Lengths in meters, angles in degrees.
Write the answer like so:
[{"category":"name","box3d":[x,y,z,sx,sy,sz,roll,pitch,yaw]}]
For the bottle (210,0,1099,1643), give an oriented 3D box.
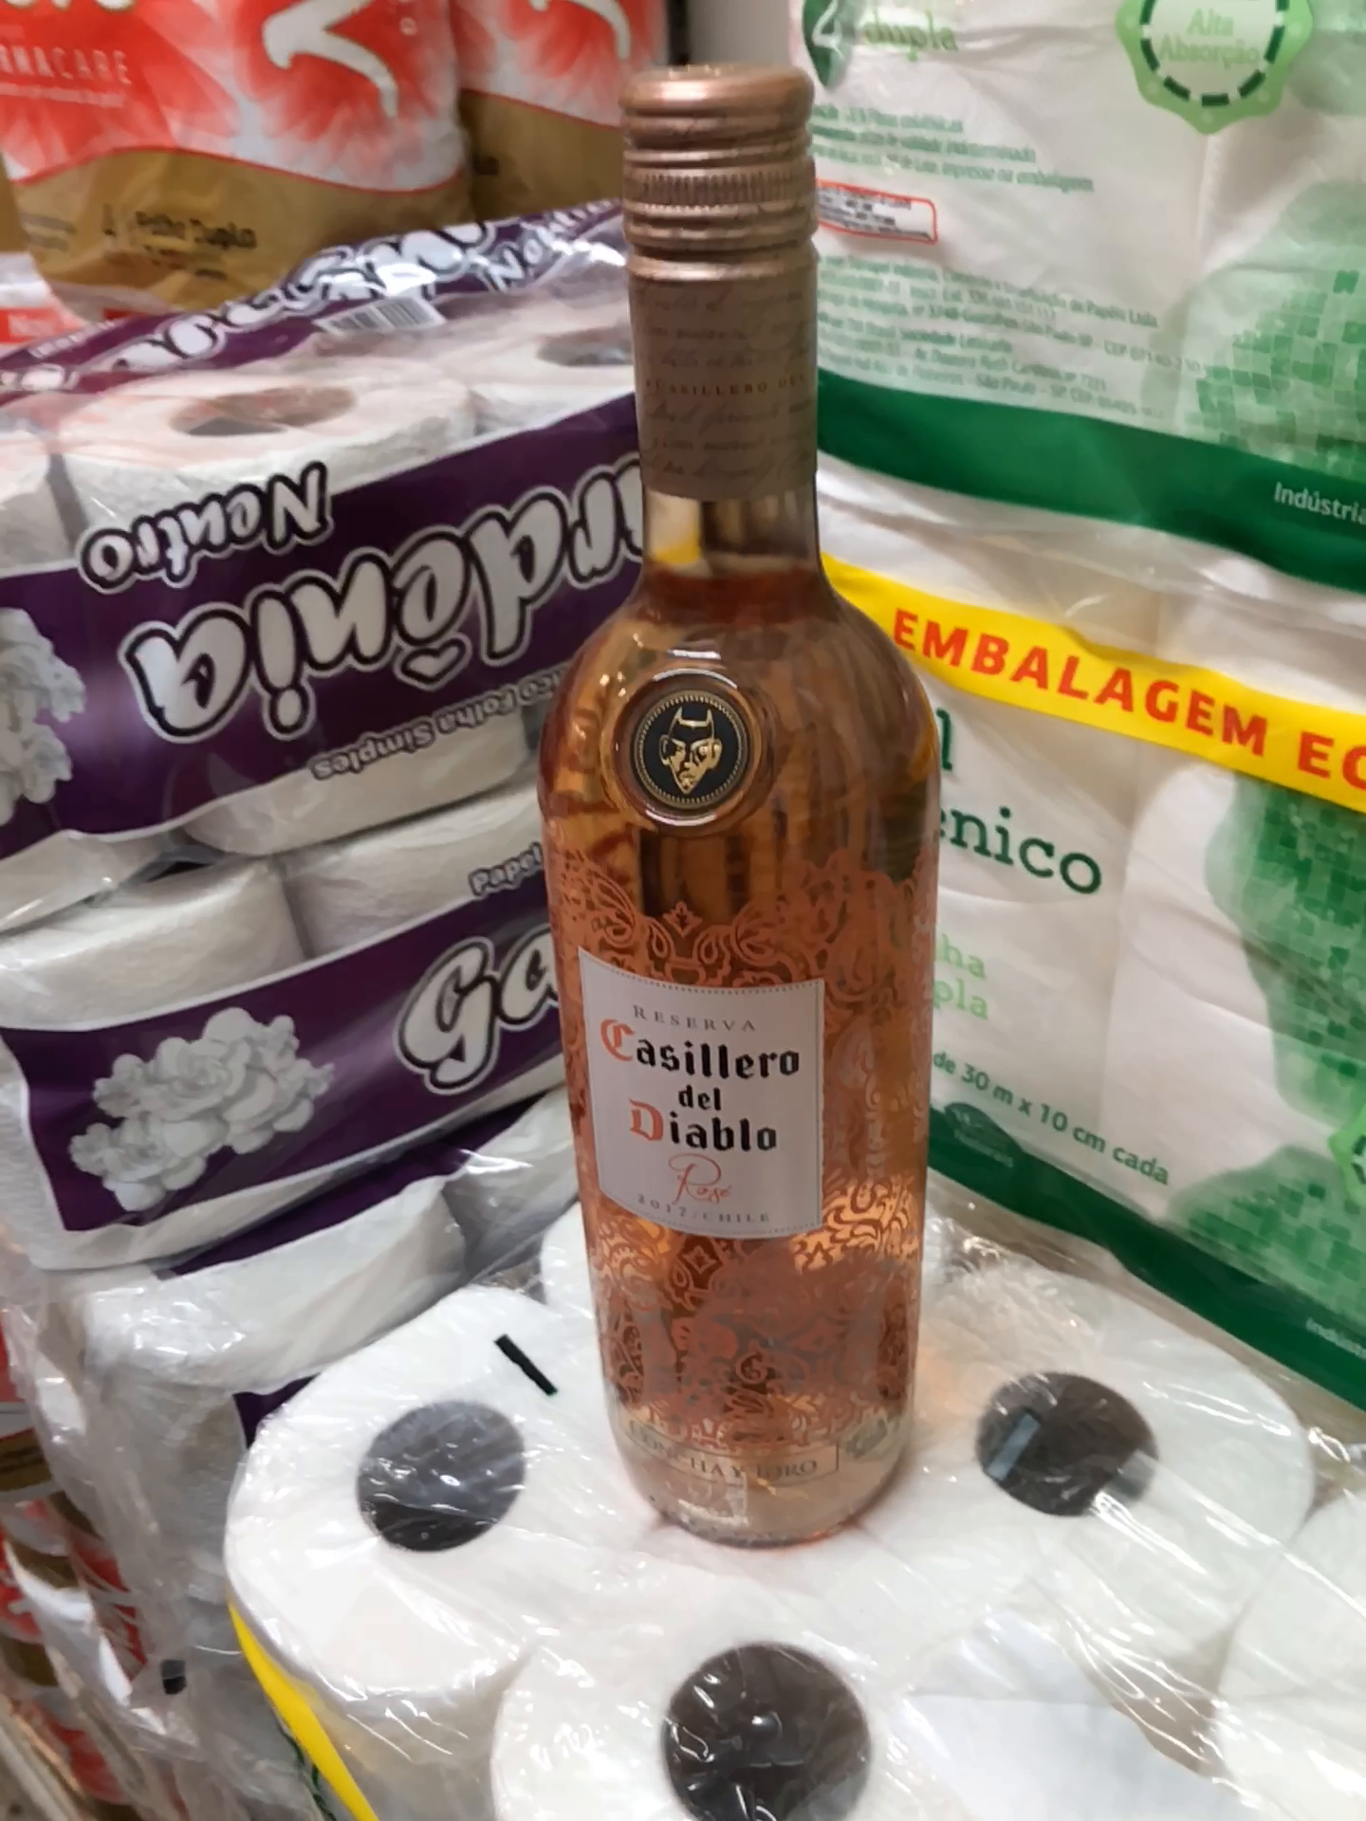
[{"category":"bottle","box3d":[0.012,-0.005,0.281,0.090,0.307,0.081,11,36,23]}]
